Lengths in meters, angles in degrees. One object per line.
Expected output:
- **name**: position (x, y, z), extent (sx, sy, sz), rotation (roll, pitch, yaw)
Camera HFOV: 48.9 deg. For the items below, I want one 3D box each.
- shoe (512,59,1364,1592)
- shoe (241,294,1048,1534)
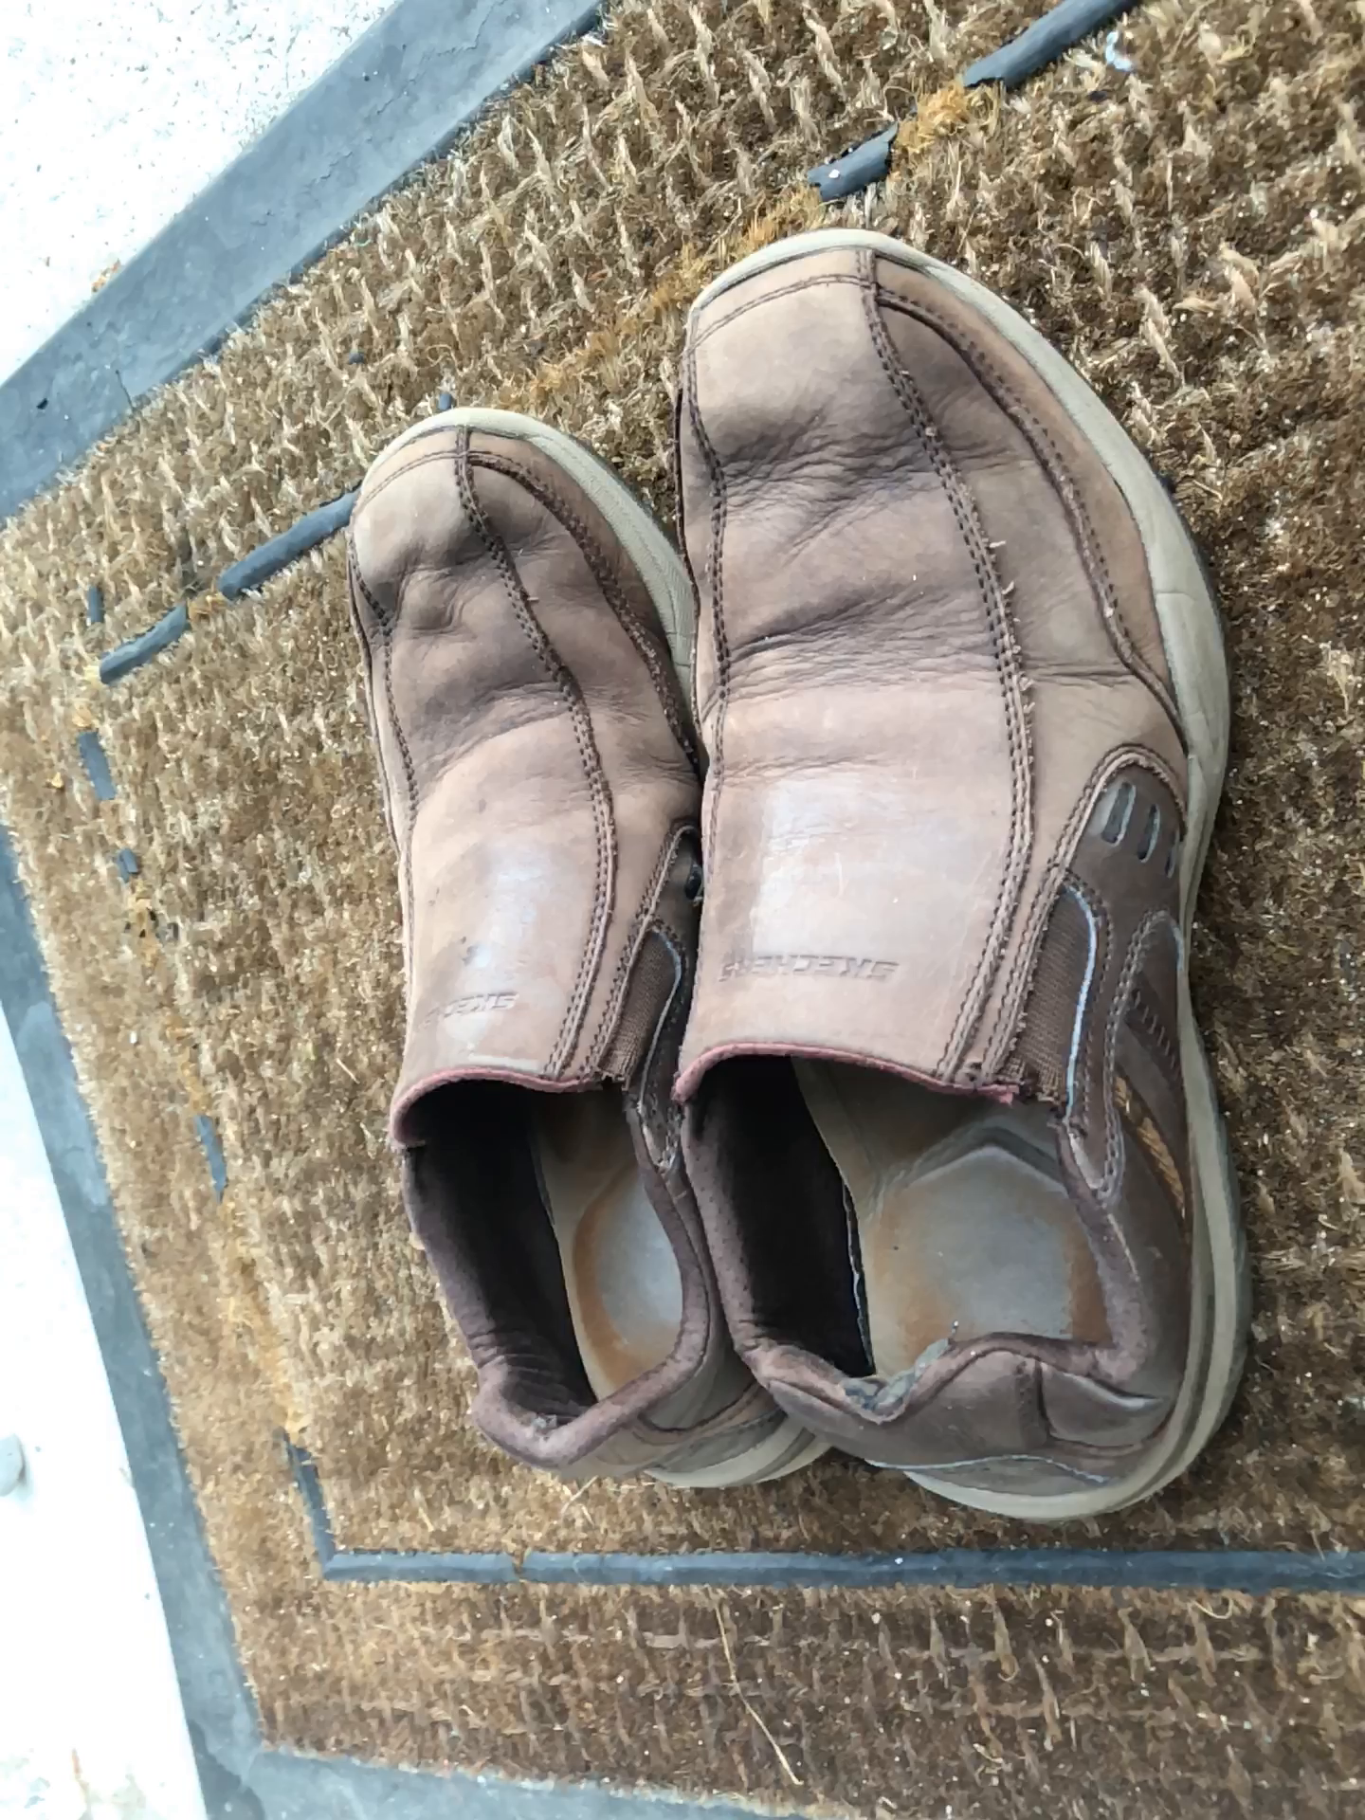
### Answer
- **shoe**: position (0.062, -0.011, 0.313), extent (0.100, 0.100, 0.254), rotation (-11, 93, 36)
- **shoe**: position (-0.006, 0.004, 0.382), extent (0.100, 0.100, 0.267), rotation (-15, 91, 36)
